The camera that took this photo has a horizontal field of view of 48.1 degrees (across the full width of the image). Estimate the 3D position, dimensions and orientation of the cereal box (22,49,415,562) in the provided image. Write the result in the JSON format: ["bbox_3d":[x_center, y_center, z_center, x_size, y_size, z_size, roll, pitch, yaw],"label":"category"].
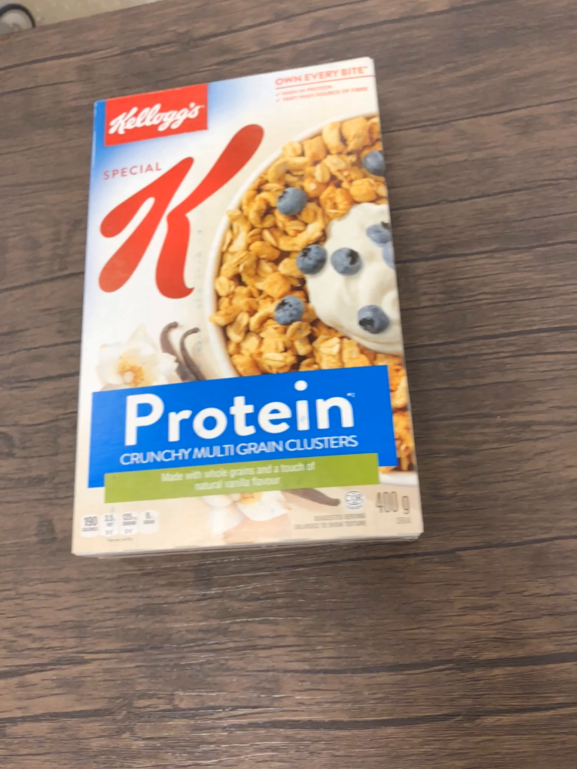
[{"bbox_3d":[-0.037,-0.044,0.350,0.180,0.050,0.260,-6,72,8],"label":"cereal box"}]
